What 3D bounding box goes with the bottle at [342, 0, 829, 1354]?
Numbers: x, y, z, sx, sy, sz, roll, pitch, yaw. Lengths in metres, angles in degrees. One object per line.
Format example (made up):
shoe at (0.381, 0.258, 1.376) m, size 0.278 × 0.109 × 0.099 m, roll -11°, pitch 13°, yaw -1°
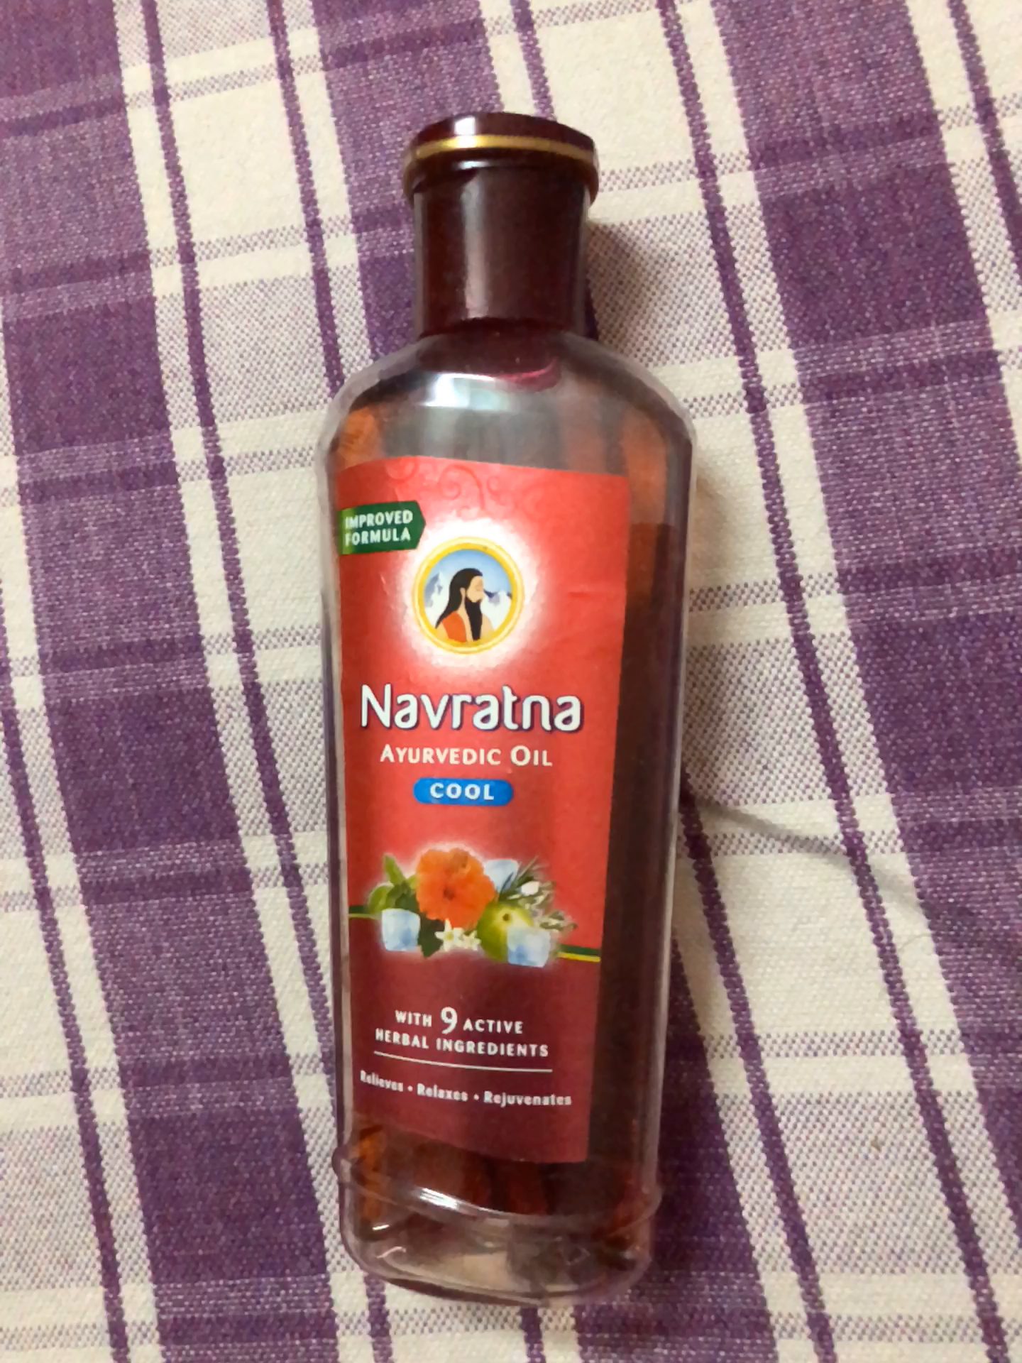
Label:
bottle at (0.015, -0.007, 0.194) m, size 0.070 × 0.050 × 0.200 m, roll -1°, pitch 85°, yaw 14°
